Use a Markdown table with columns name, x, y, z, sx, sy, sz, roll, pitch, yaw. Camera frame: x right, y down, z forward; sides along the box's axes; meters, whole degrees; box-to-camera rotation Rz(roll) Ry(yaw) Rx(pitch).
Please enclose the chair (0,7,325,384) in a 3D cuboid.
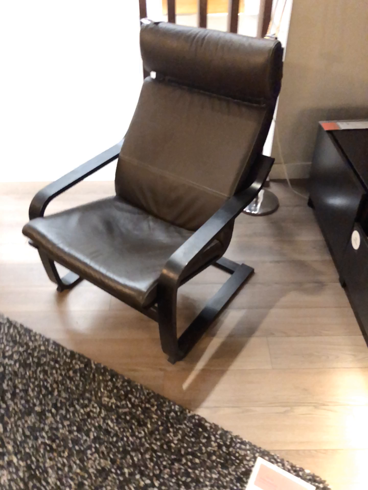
| name | x | y | z | sx | sy | sz | roll | pitch | yaw |
| --- | --- | --- | --- | --- | --- | --- | --- | --- | --- |
| chair | -0.110 | -0.223 | 1.433 | 0.781 | 0.877 | 0.732 | 24 | 48 | 26 |
